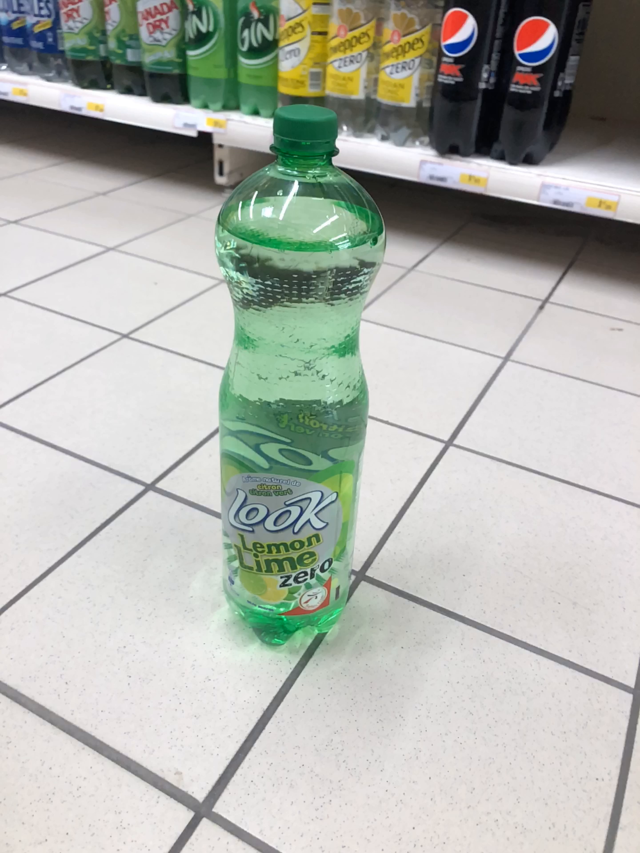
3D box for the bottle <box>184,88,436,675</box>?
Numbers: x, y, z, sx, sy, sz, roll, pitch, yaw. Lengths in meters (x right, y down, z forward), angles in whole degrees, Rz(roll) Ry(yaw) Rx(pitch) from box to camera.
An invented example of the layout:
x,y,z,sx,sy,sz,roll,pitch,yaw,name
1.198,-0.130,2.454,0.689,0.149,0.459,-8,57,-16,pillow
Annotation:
x,y,z,sx,sy,sz,roll,pitch,yaw,name
-0.008,-0.009,0.406,0.100,0.318,0.101,3,33,-2,bottle
